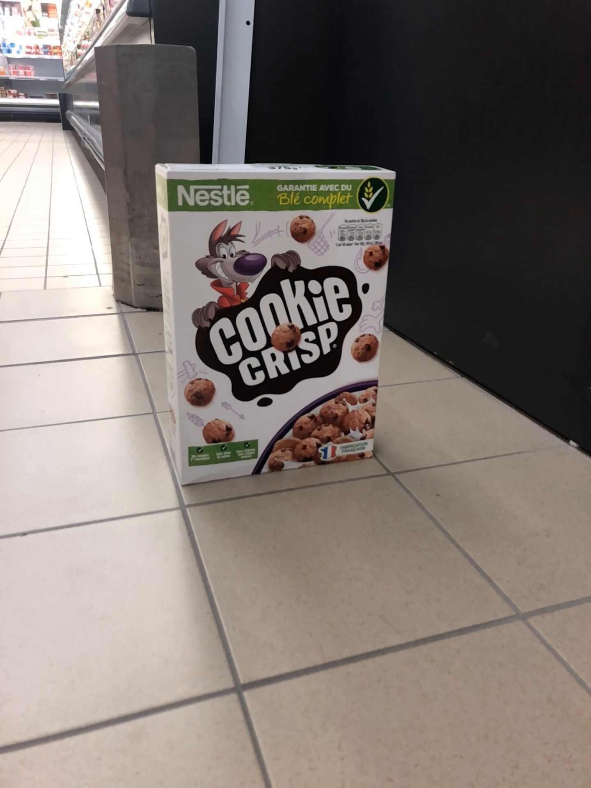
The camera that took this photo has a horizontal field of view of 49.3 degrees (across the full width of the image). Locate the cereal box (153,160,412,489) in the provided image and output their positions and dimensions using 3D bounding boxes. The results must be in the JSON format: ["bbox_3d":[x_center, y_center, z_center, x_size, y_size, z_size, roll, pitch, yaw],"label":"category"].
[{"bbox_3d":[-0.012,-0.062,0.572,0.200,0.269,0.060,-7,24,-17],"label":"cereal box"}]
